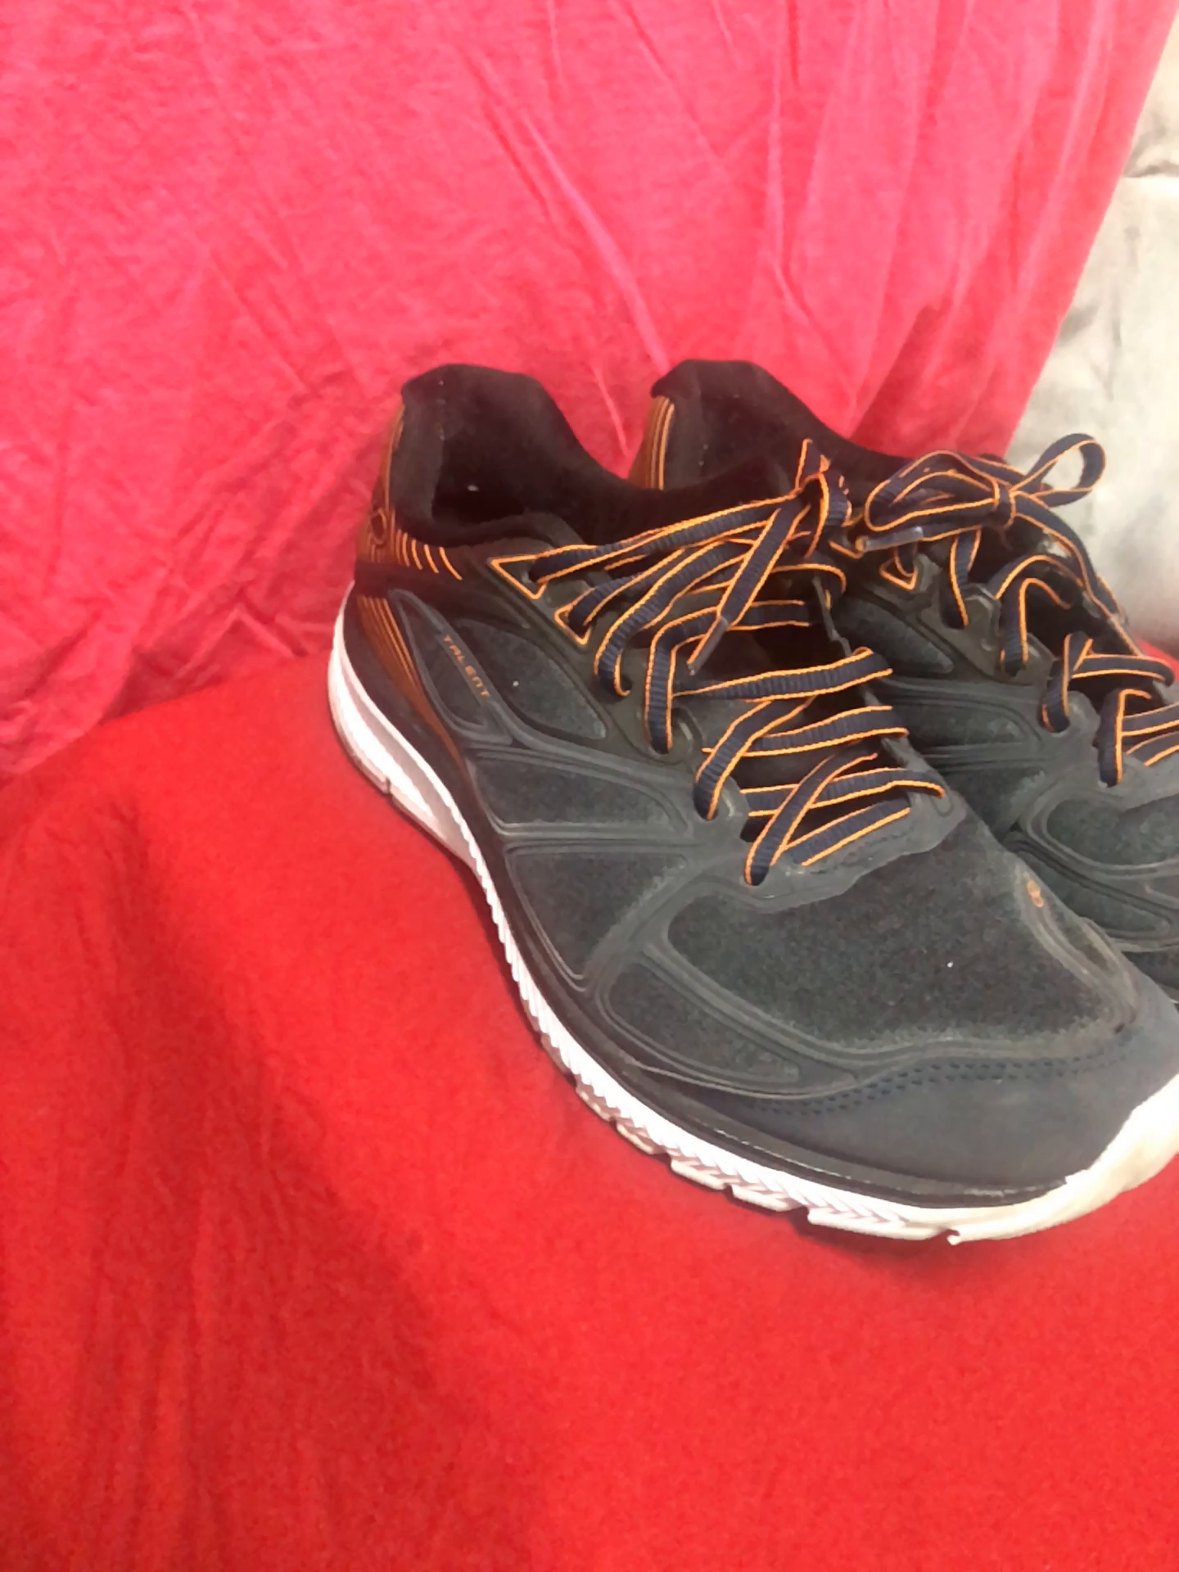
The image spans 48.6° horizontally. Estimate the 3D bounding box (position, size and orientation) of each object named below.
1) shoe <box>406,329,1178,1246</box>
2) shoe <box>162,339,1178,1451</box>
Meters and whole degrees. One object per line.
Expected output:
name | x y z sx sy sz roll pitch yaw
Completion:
shoe | 0.075 -0.030 0.362 0.110 0.099 0.282 -24 45 -33
shoe | 0.003 -0.014 0.312 0.110 0.089 0.282 -18 42 -28
